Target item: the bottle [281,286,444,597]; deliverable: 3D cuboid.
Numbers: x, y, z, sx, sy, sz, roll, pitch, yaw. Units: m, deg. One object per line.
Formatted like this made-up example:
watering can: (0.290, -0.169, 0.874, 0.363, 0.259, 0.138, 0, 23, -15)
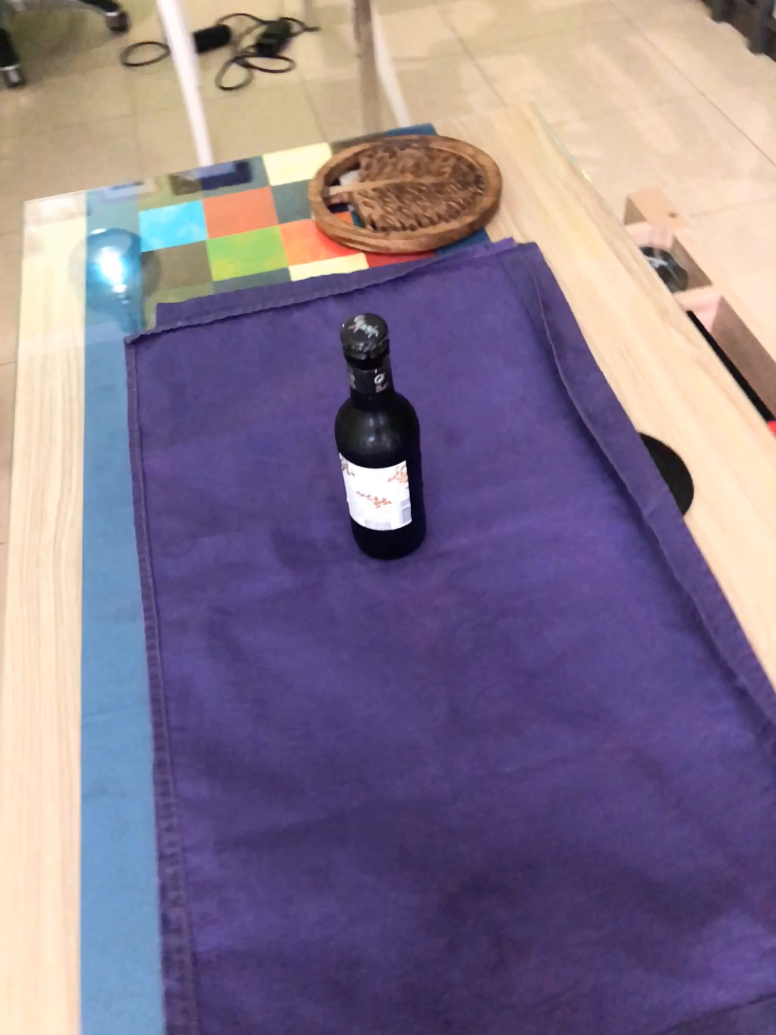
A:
bottle: (-0.007, -0.038, 0.527, 0.070, 0.199, 0.070, -3, 51, 4)
